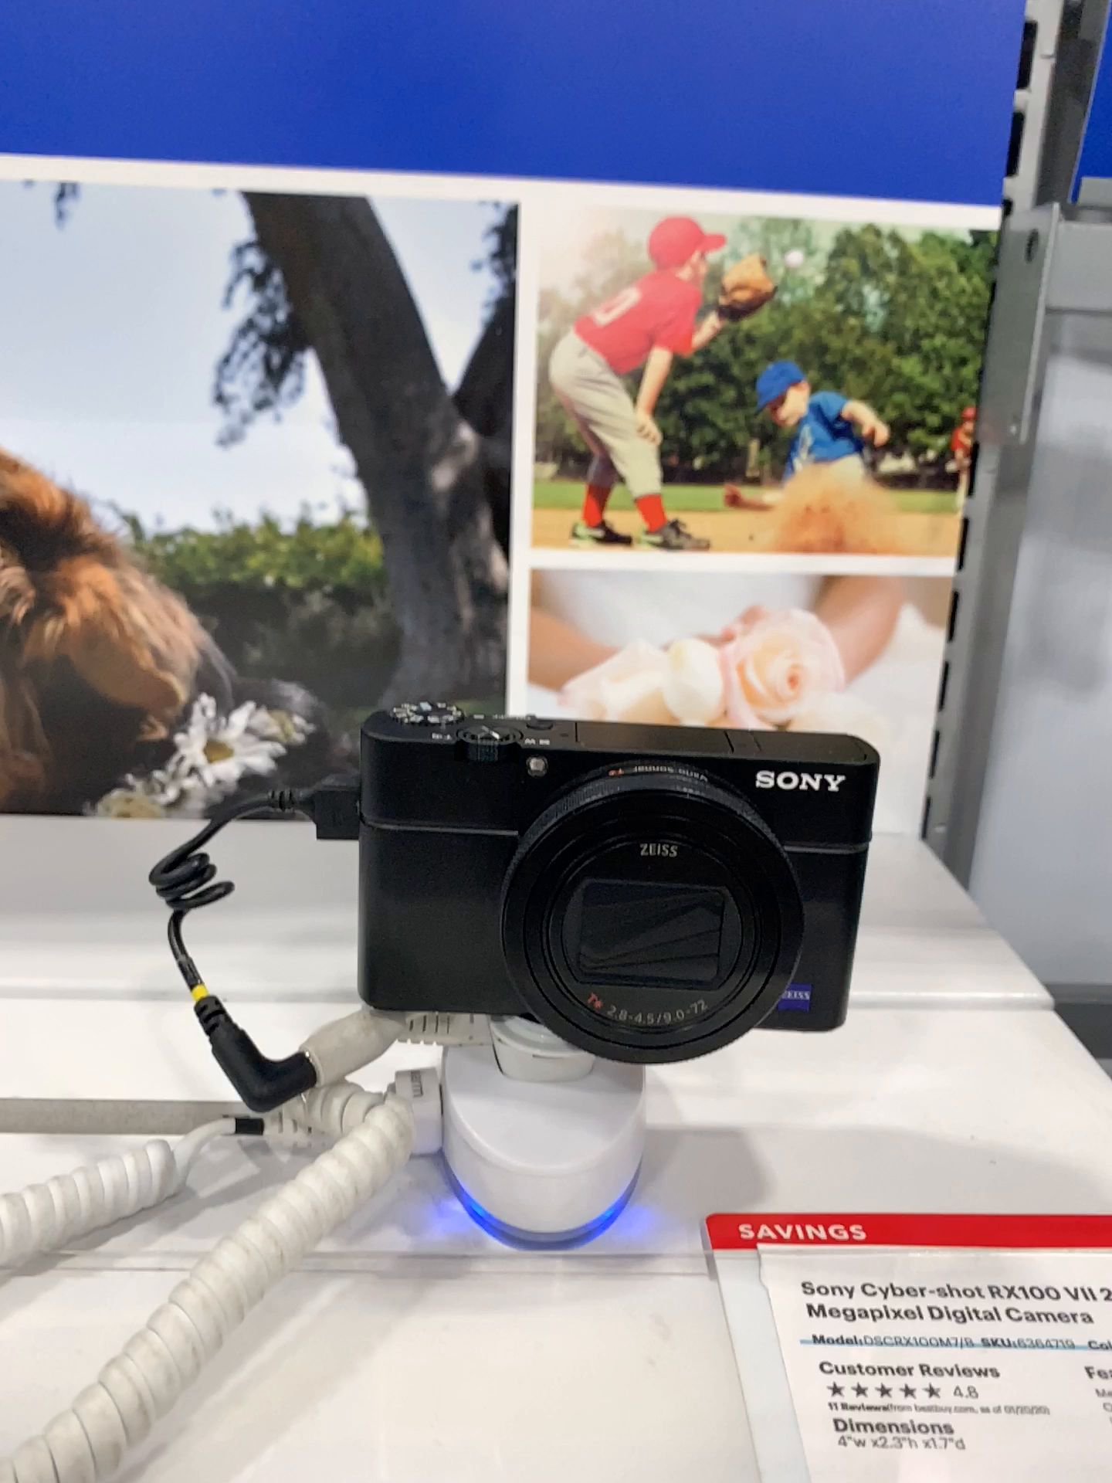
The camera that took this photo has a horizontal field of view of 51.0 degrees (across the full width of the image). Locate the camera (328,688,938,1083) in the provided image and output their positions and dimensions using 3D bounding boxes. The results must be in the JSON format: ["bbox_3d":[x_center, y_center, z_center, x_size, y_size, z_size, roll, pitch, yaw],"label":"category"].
[{"bbox_3d":[0.012,0.026,0.229,0.105,0.060,0.043,3,15,-1],"label":"camera"}]
